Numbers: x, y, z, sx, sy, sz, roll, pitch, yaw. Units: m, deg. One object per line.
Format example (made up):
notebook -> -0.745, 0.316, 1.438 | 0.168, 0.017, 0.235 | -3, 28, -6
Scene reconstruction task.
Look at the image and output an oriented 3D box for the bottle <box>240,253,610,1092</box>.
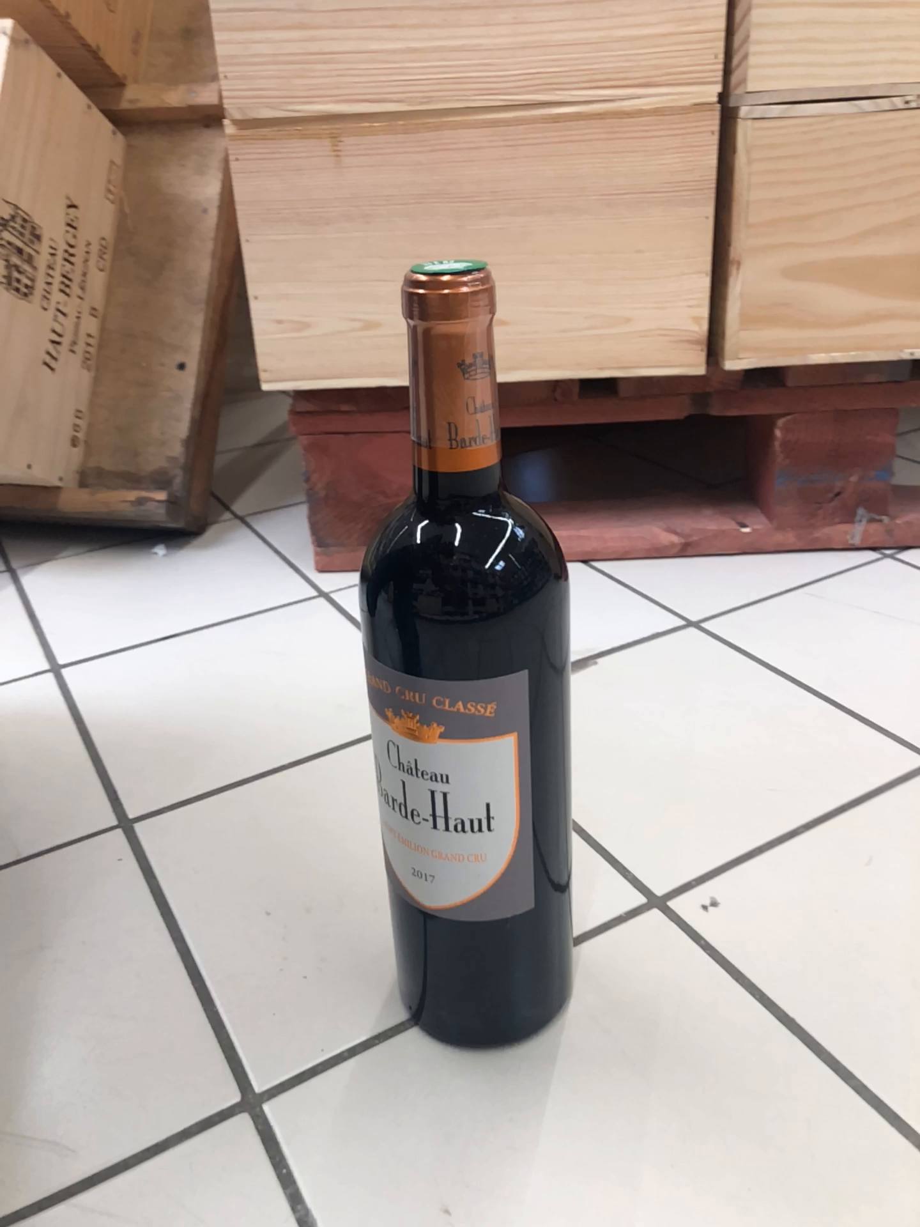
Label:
bottle -> -0.002, 0.027, 0.370 | 0.080, 0.288, 0.080 | -2, 26, 1
